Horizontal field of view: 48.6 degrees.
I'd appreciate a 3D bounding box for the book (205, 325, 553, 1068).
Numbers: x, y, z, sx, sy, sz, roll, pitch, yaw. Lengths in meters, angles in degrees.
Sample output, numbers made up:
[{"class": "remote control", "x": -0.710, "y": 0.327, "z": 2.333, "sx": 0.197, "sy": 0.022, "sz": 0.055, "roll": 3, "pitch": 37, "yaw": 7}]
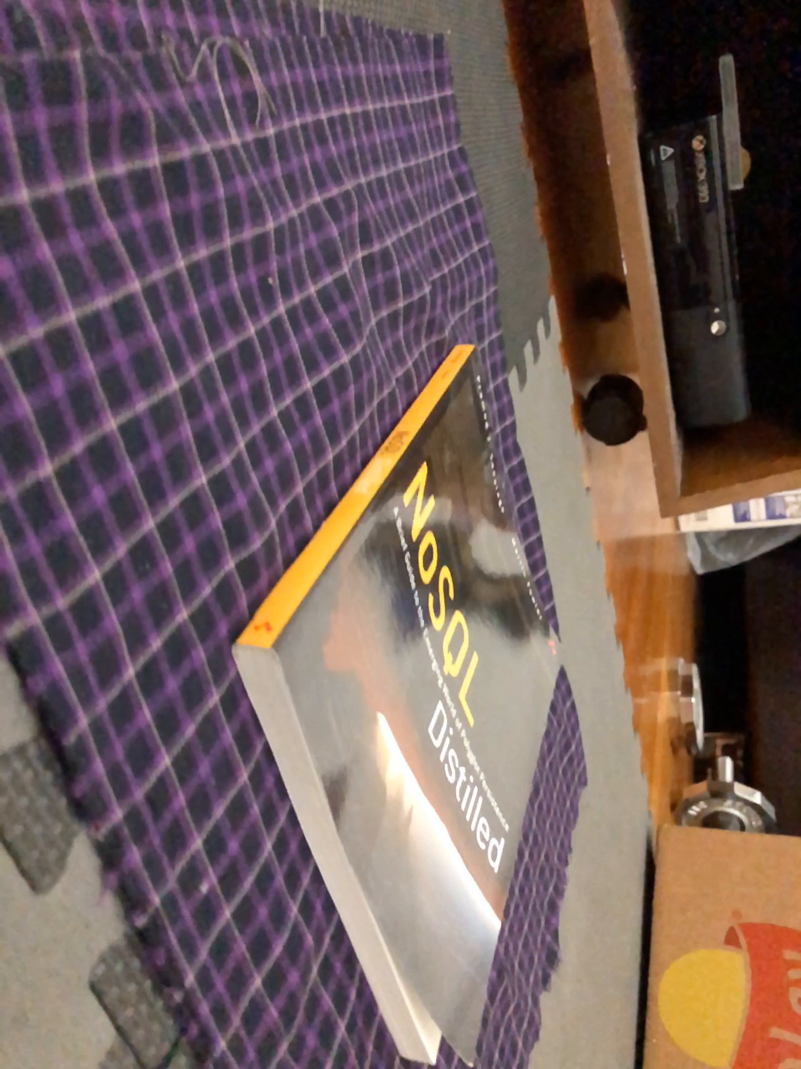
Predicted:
[{"class": "book", "x": 0.019, "y": 0.044, "z": 0.374, "sx": 0.251, "sy": 0.020, "sz": 0.190, "roll": -61, "pitch": 139, "yaw": -55}]
